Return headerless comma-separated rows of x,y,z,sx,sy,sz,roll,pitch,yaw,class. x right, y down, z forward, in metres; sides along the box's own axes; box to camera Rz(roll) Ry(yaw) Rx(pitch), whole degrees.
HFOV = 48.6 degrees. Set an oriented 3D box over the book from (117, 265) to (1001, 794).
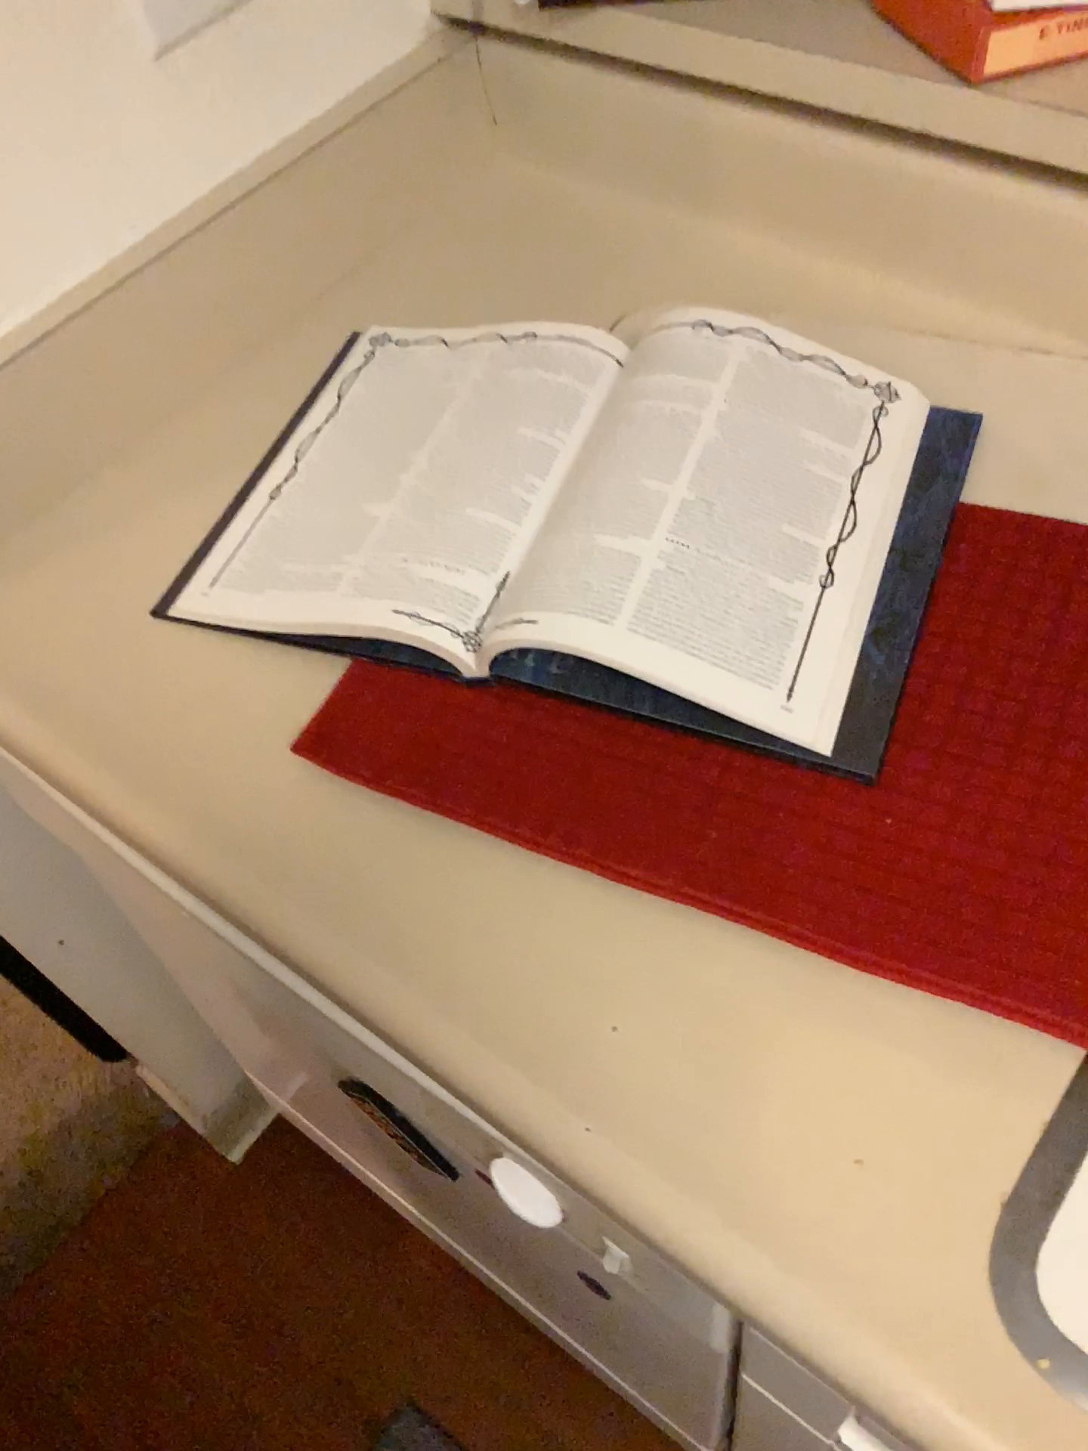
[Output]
0.016,-0.144,0.730,0.450,0.060,0.290,13,57,17,book
